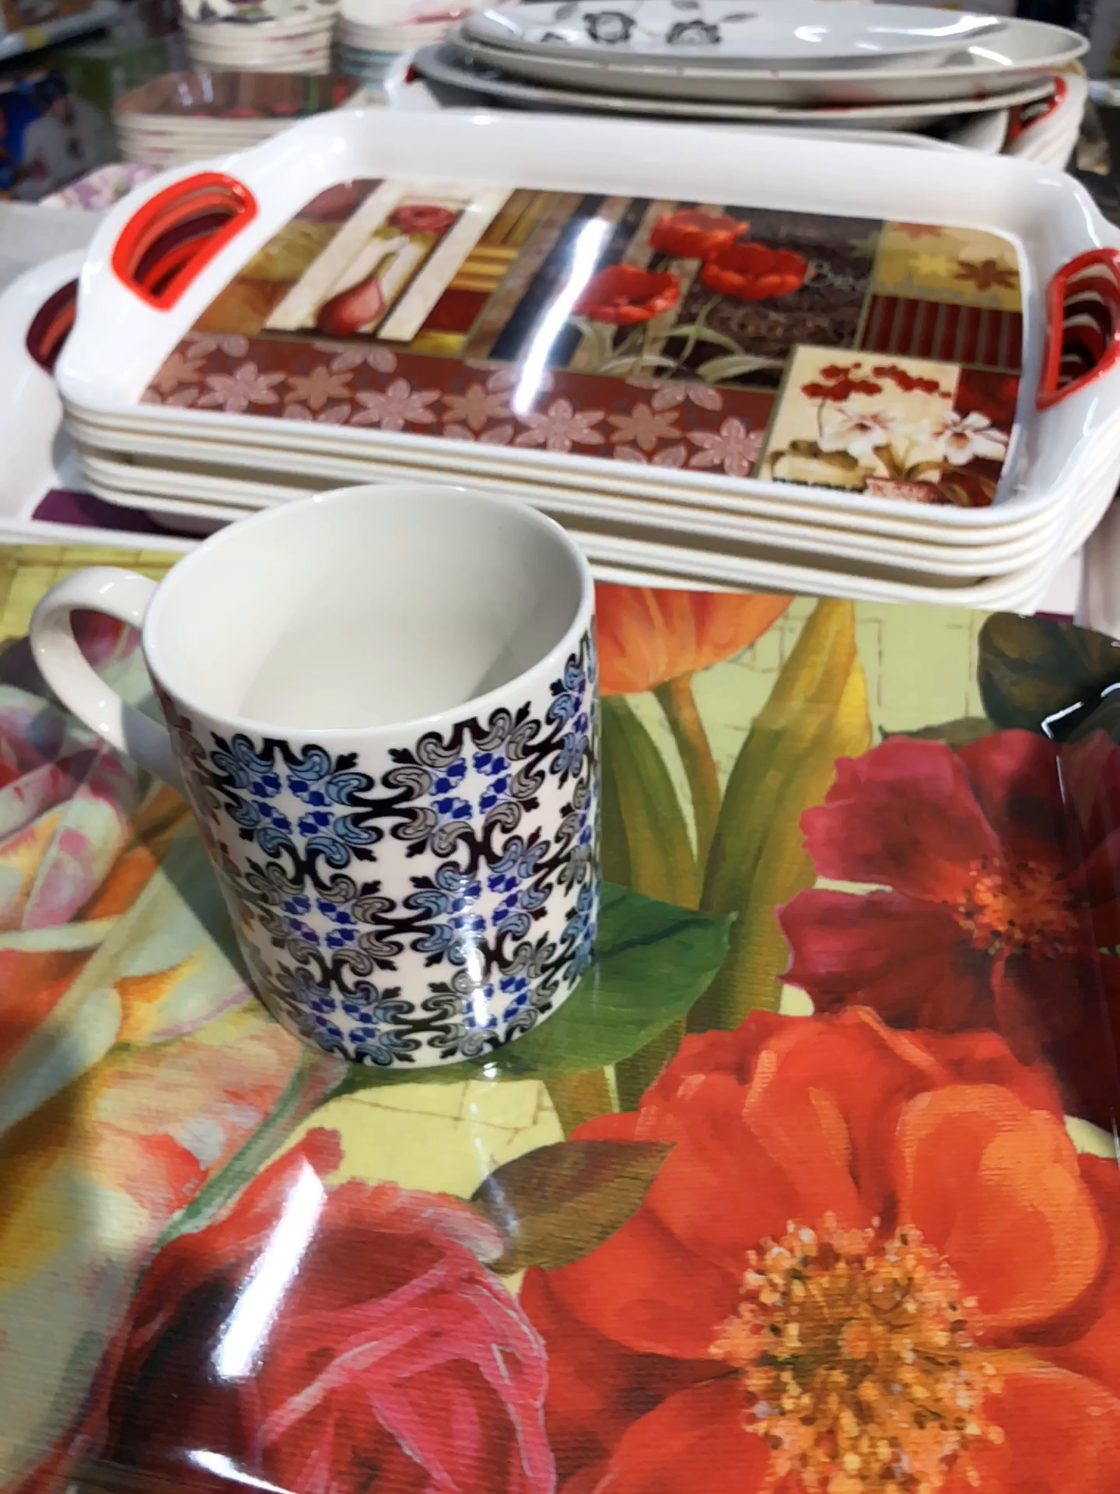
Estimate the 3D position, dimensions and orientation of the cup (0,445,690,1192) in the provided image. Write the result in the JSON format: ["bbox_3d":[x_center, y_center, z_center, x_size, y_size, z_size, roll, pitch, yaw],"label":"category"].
[{"bbox_3d":[-0.048,0.010,0.257,0.130,0.099,0.091,8,39,10],"label":"cup"}]
